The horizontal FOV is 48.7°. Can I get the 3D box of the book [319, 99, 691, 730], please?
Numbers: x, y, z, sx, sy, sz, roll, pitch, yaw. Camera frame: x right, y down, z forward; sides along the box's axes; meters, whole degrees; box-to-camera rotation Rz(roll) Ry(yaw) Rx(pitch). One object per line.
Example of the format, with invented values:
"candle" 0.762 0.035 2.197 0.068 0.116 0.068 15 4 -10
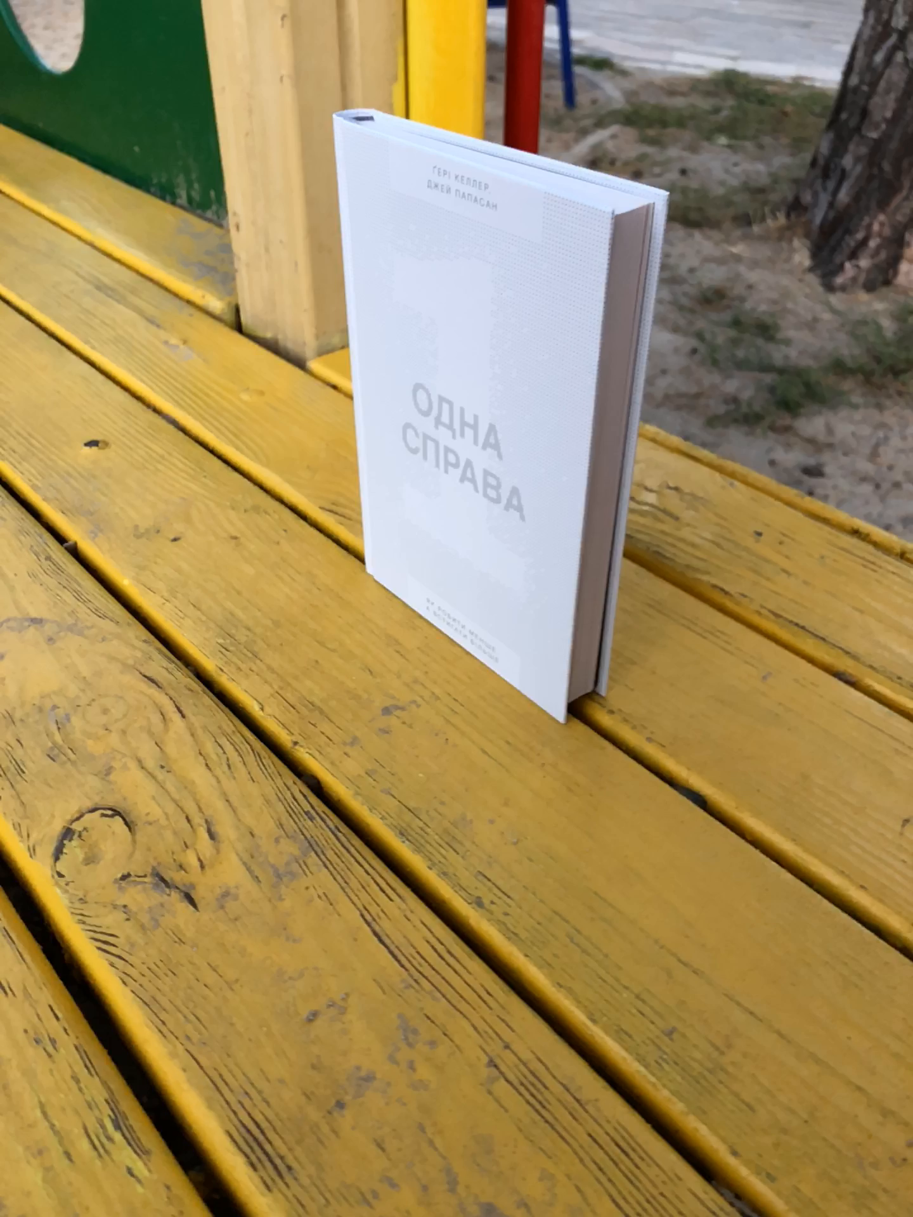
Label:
"book" 0.010 -0.075 0.405 0.030 0.208 0.154 -28 46 -30
